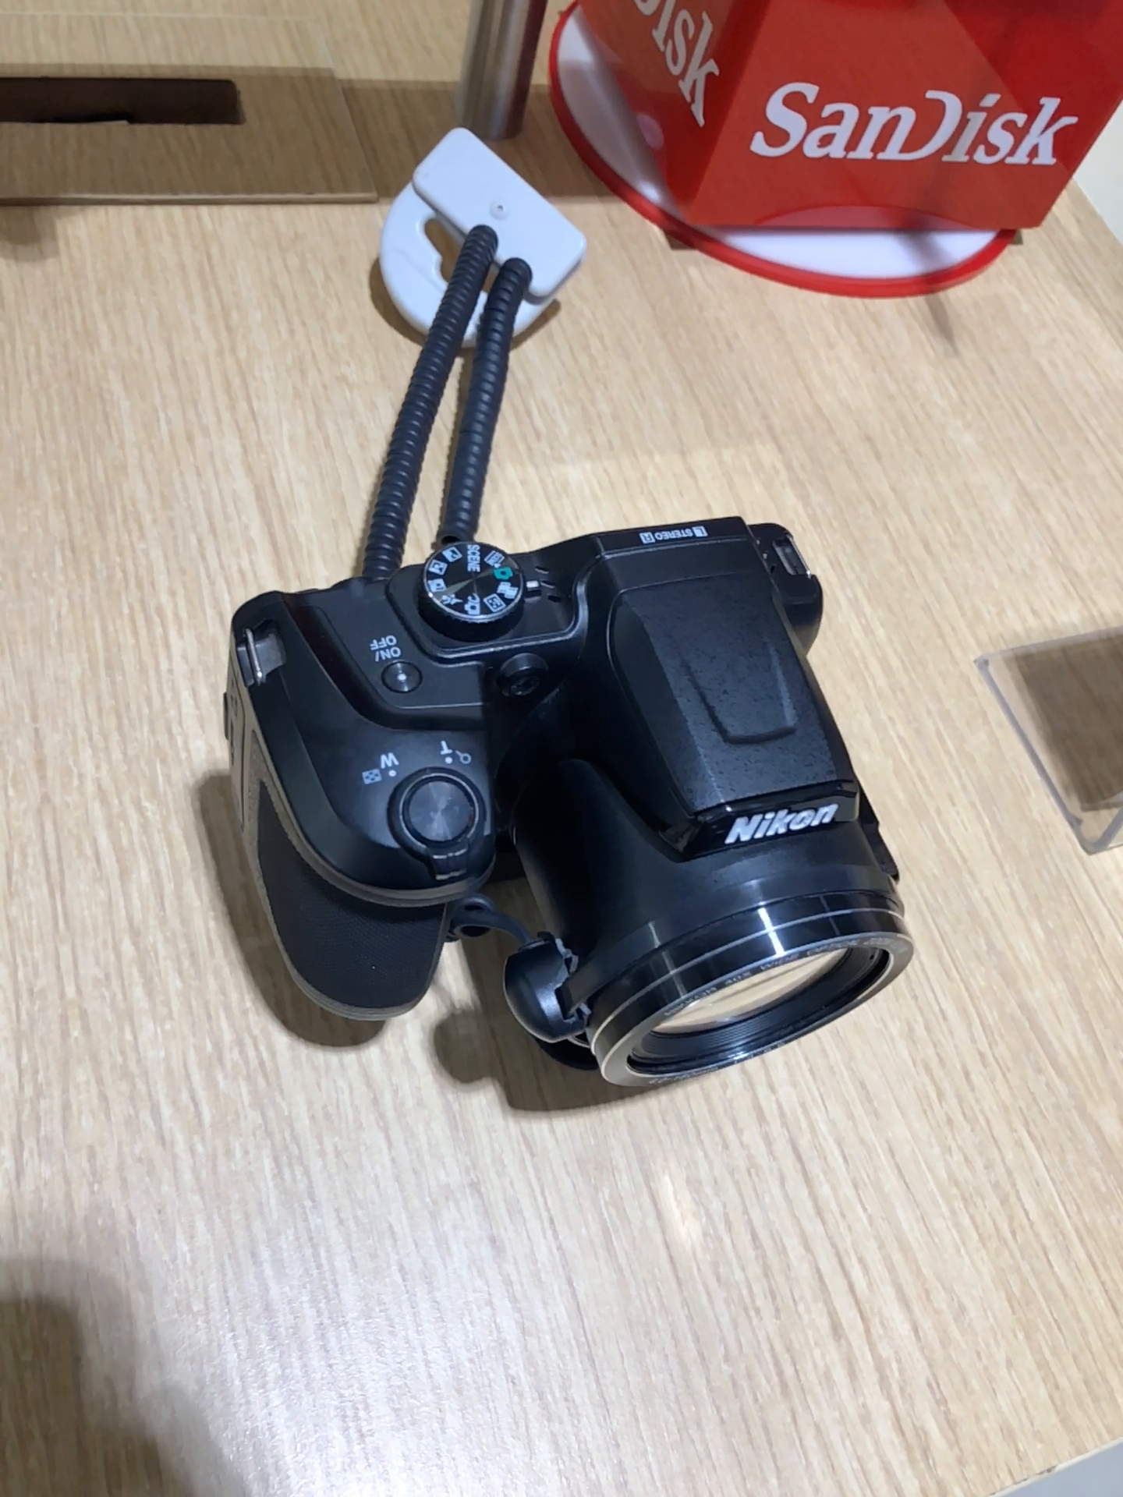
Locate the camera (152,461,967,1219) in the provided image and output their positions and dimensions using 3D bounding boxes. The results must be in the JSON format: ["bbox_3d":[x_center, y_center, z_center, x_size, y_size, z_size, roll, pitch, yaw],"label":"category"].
[{"bbox_3d":[-0.008,0.014,0.222,0.103,0.070,0.093,-12,63,-21],"label":"camera"}]
